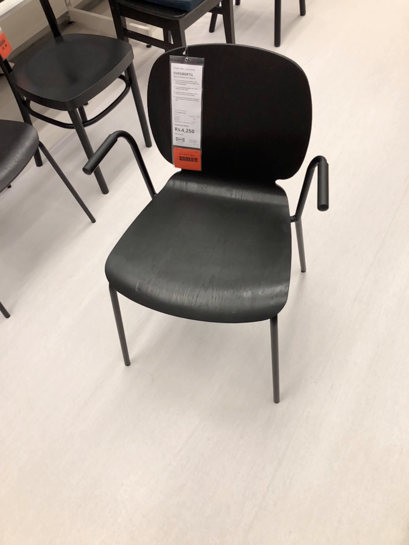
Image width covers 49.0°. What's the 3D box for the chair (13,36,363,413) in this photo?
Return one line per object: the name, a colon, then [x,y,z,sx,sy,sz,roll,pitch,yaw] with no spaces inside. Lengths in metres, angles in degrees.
chair: [0.031,-0.097,1.162,0.530,0.686,0.583,13,58,14]
